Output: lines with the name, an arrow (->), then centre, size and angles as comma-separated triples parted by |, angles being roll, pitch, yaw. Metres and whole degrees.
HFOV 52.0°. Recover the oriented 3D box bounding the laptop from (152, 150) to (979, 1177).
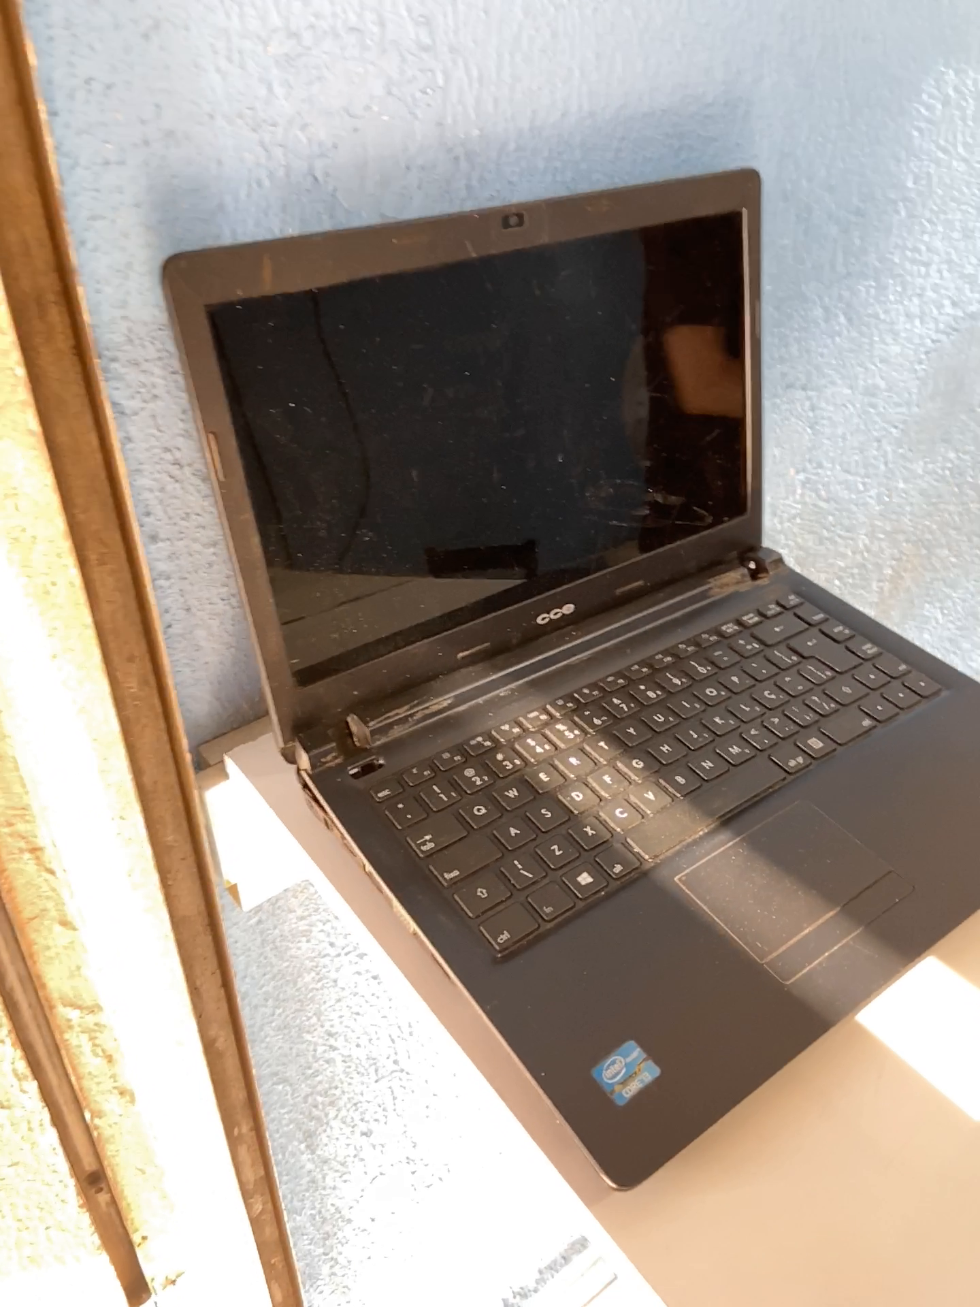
laptop -> 0.090, -0.055, 0.448 | 0.334, 0.210, 0.313 | -22, 44, -29
